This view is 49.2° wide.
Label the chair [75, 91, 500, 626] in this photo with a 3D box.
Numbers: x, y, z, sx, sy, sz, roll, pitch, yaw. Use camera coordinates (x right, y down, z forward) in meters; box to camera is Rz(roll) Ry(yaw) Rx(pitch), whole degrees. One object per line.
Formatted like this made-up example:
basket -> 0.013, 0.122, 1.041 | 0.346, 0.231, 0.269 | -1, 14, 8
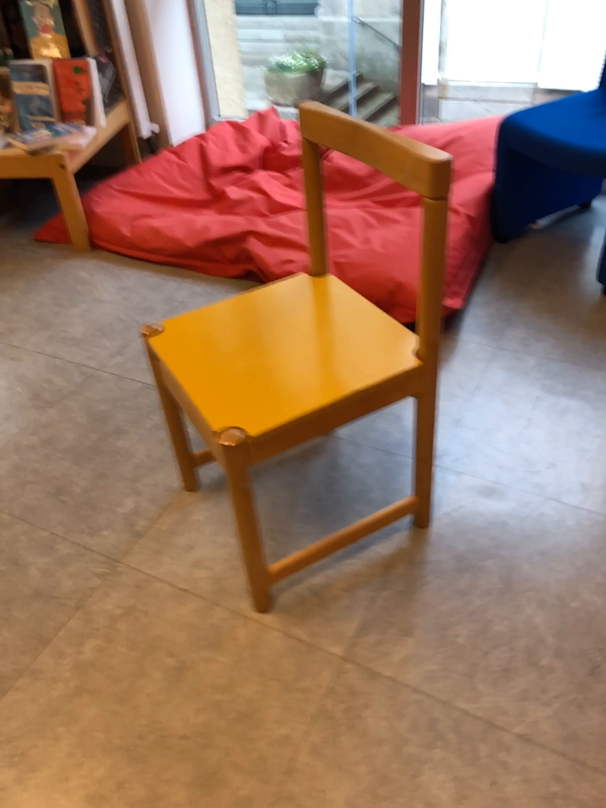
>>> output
chair -> -0.024, -0.087, 1.114 | 0.421, 0.666, 0.451 | -22, 42, -21
